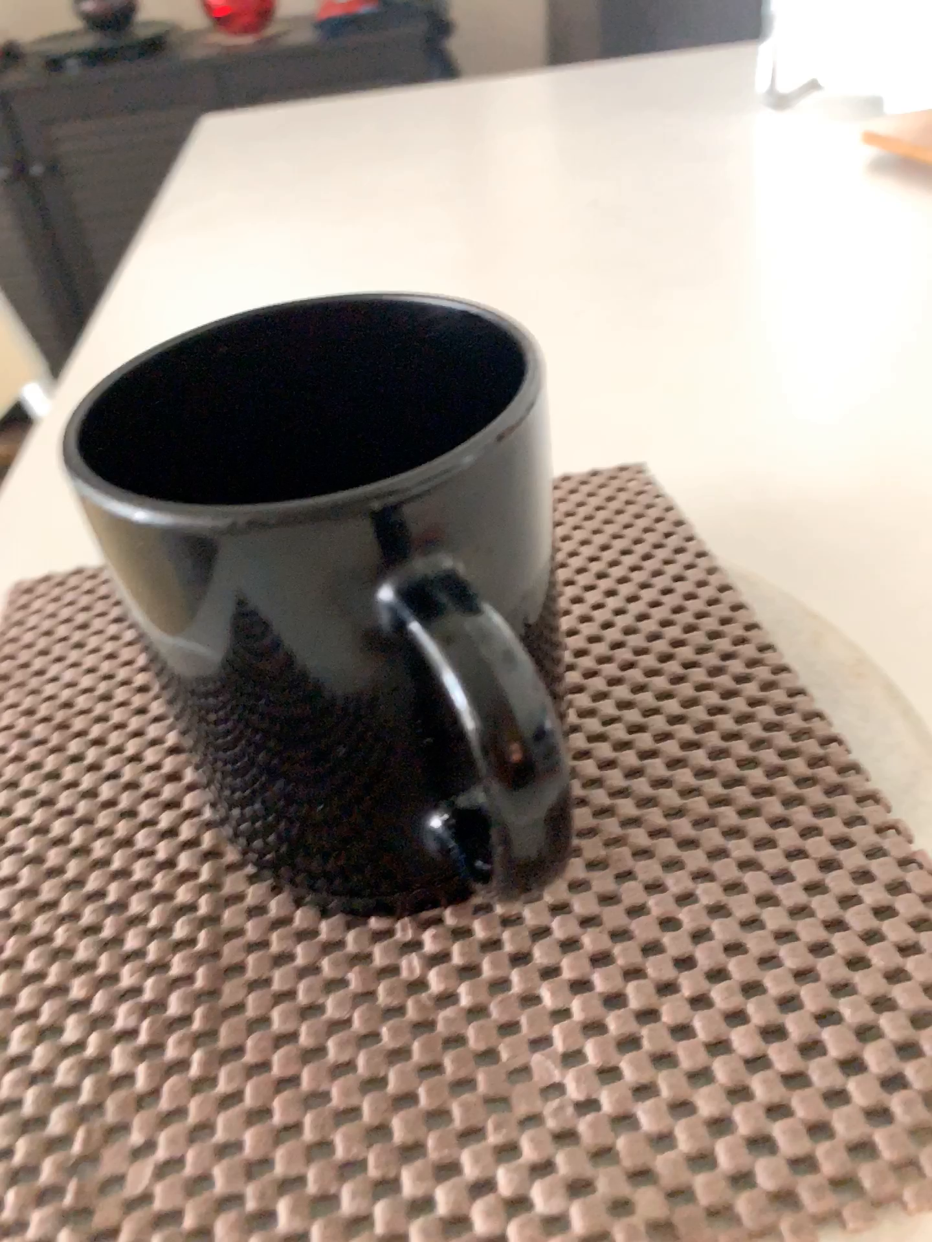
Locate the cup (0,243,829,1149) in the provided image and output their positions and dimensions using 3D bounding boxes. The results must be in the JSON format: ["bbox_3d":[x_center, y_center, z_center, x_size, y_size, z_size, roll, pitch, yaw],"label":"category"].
[{"bbox_3d":[-0.012,0.001,0.157,0.076,0.080,0.101,-25,41,-19],"label":"cup"}]
